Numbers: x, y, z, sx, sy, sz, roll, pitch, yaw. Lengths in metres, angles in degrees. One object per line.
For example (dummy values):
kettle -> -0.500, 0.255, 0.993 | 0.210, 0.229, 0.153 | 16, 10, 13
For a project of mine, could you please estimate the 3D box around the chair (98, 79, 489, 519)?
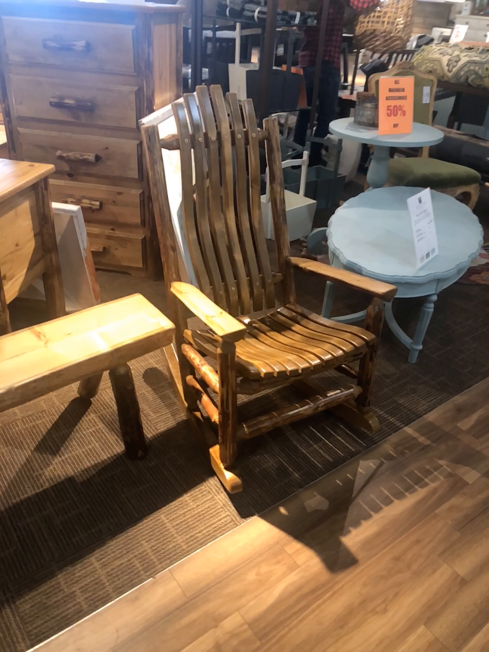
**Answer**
chair -> 0.055, -0.179, 1.773 | 0.719, 1.049, 0.887 | -15, 36, -29
